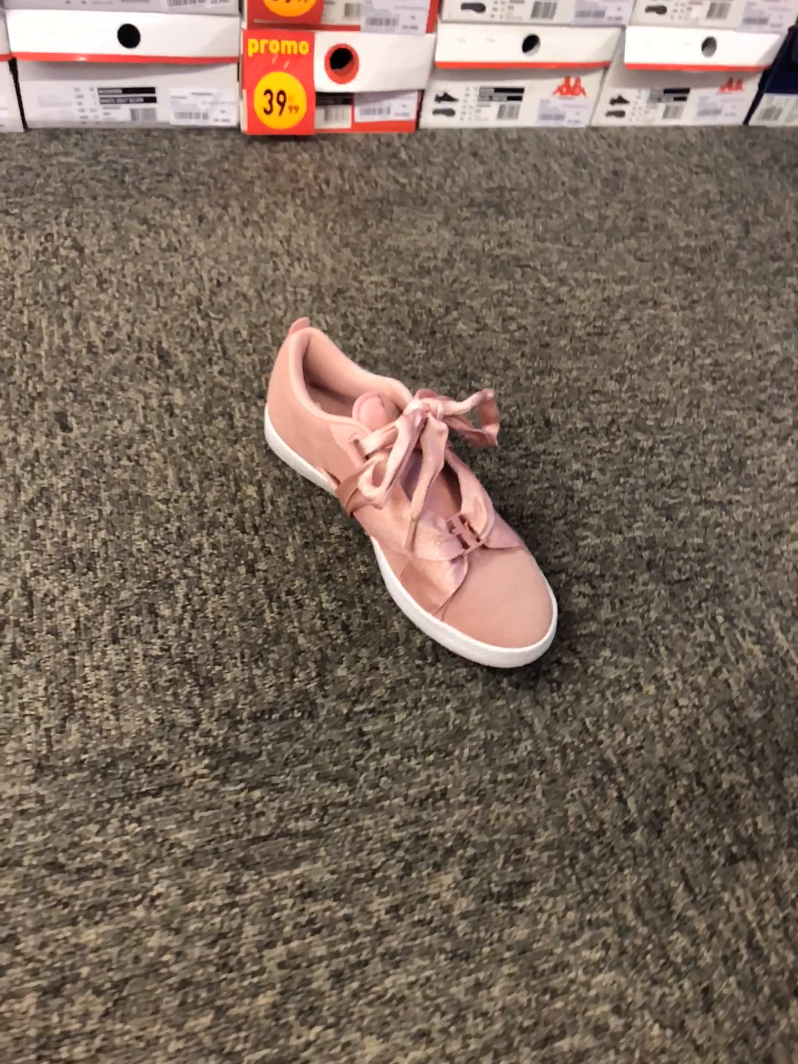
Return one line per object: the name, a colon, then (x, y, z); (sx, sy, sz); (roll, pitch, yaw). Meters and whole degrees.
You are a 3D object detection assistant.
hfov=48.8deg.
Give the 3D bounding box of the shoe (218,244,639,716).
shoe: (0.004, -0.038, 0.534); (0.100, 0.099, 0.262); (-28, 69, -28)
